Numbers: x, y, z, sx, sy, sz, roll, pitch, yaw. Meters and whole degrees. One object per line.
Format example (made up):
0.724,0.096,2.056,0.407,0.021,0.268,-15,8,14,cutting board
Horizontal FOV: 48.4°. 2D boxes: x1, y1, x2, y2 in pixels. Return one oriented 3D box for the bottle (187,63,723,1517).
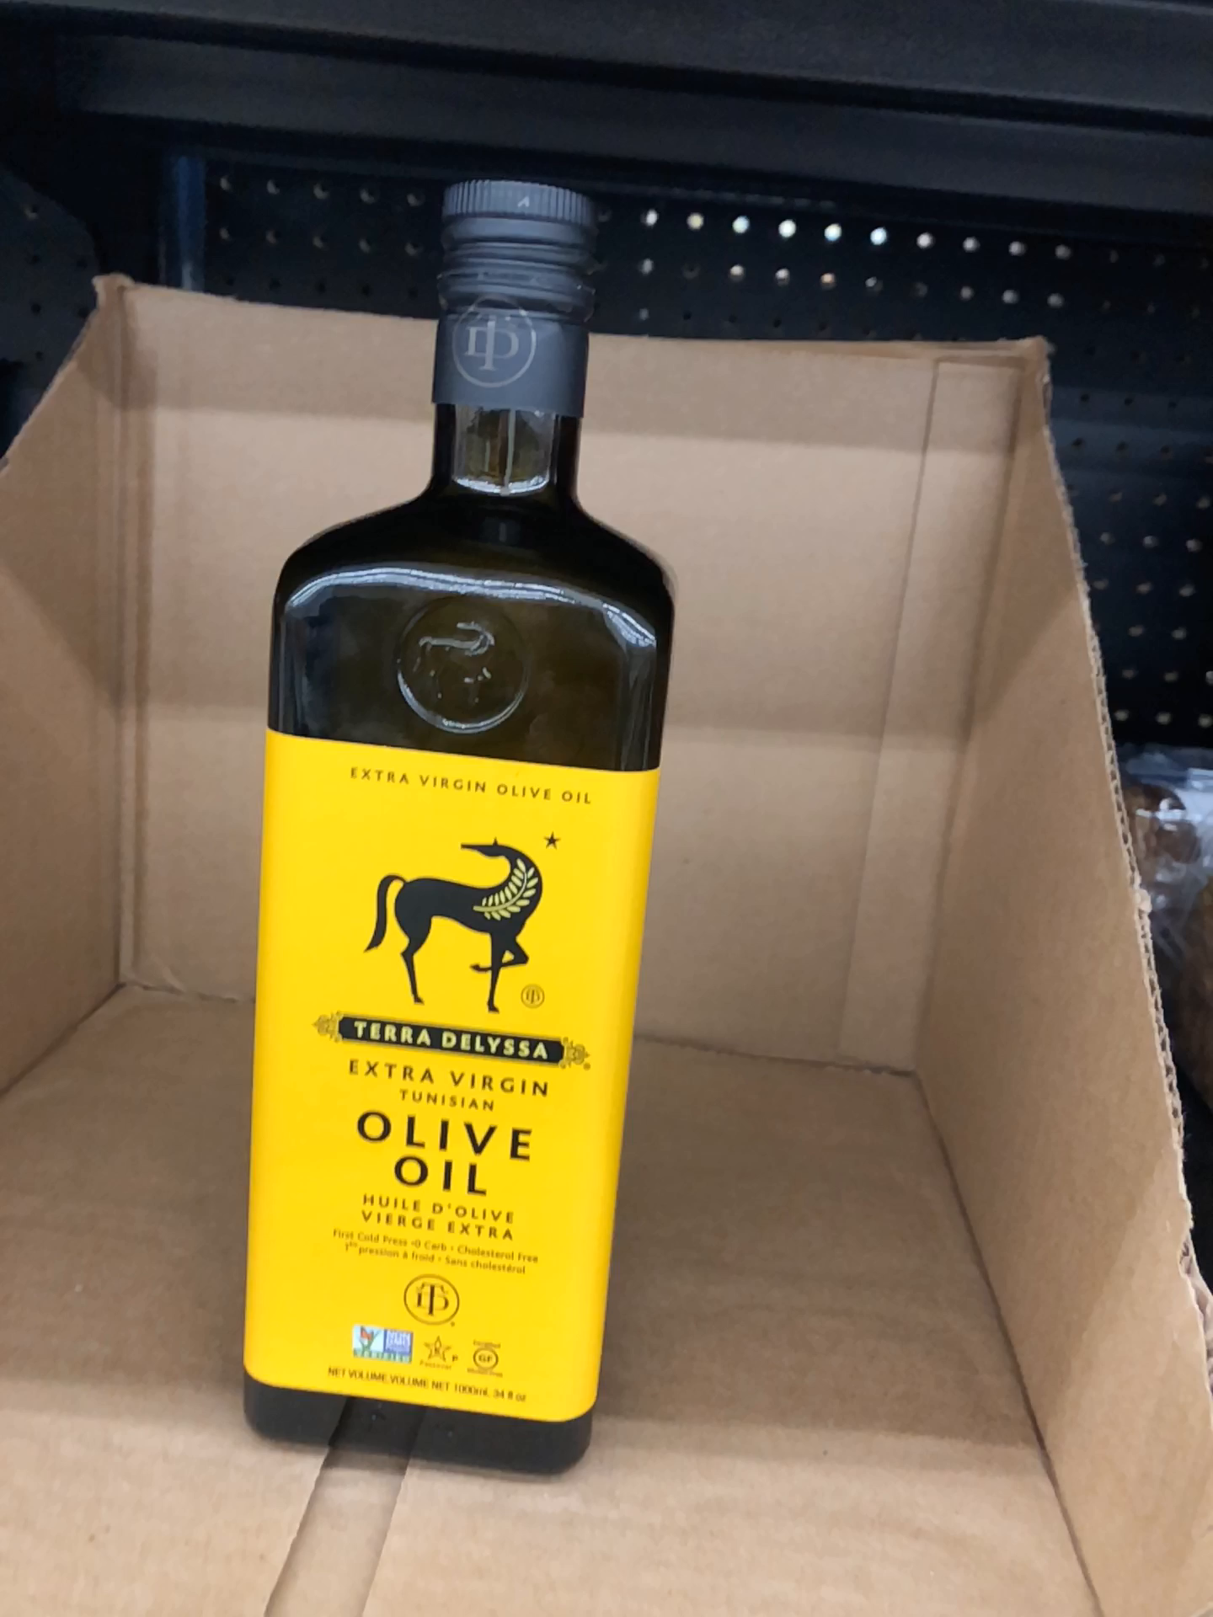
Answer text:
-0.033,0.004,0.308,0.090,0.288,0.090,4,16,-1,bottle
